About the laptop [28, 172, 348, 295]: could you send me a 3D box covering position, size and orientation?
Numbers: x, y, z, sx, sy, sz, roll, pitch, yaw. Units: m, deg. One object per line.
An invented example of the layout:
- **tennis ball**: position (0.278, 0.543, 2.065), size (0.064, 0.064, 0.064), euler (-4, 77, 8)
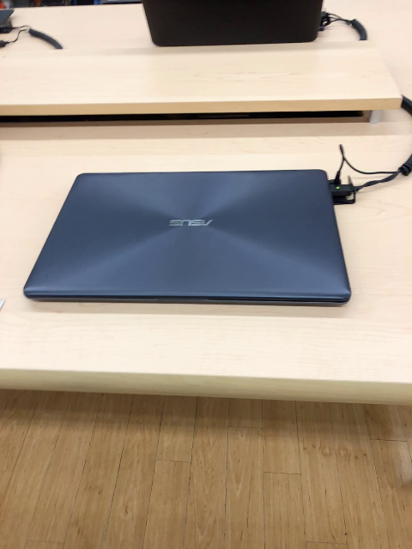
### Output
- **laptop**: position (-0.020, -0.062, 0.564), size (0.345, 0.002, 0.229), euler (0, 45, 5)
